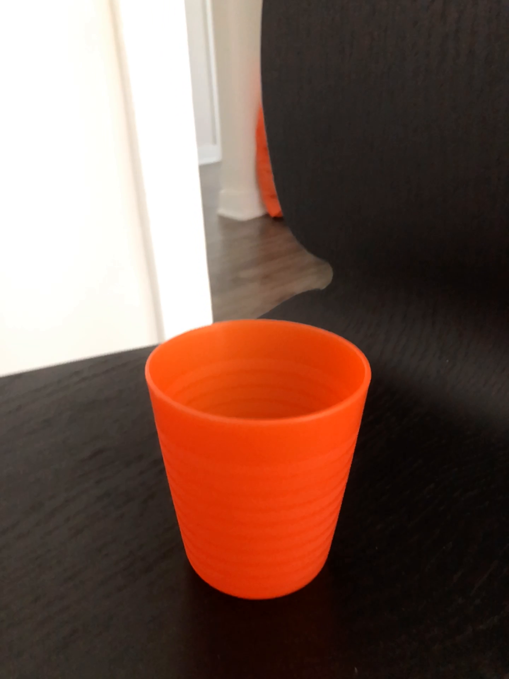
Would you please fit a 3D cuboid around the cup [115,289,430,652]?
[{"bbox_3d":[0.002,0.039,0.210,0.080,0.080,0.080,-2,27,1],"label":"cup"}]
